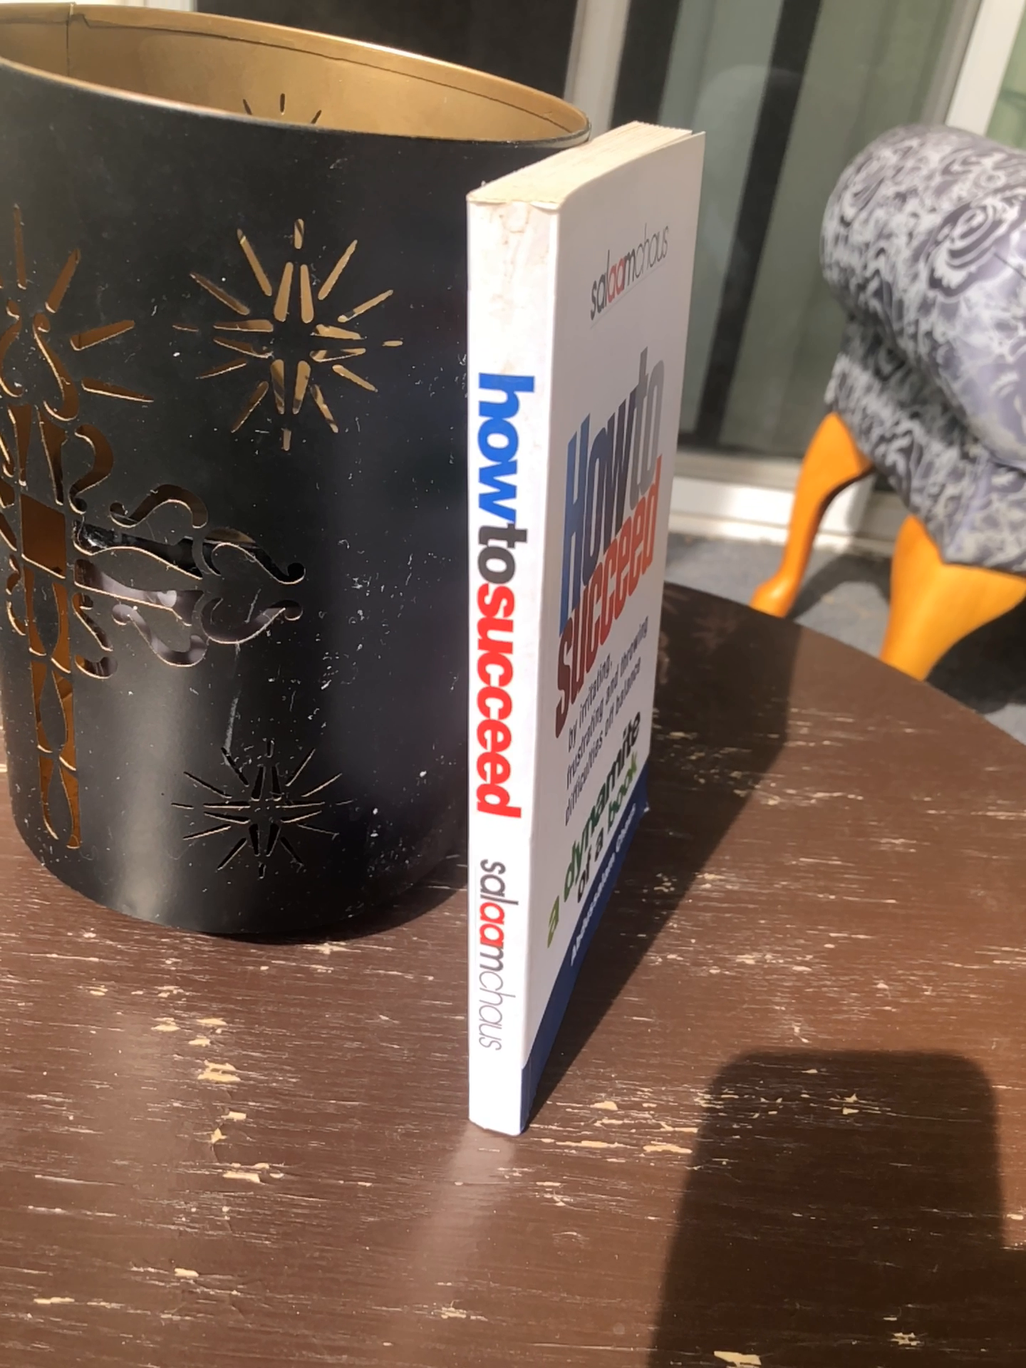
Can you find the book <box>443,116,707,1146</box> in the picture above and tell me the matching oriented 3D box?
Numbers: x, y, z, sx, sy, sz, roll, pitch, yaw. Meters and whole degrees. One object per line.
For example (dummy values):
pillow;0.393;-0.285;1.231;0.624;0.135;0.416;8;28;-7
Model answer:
book;0.016;-0.017;0.275;0.018;0.207;0.139;10;31;14
